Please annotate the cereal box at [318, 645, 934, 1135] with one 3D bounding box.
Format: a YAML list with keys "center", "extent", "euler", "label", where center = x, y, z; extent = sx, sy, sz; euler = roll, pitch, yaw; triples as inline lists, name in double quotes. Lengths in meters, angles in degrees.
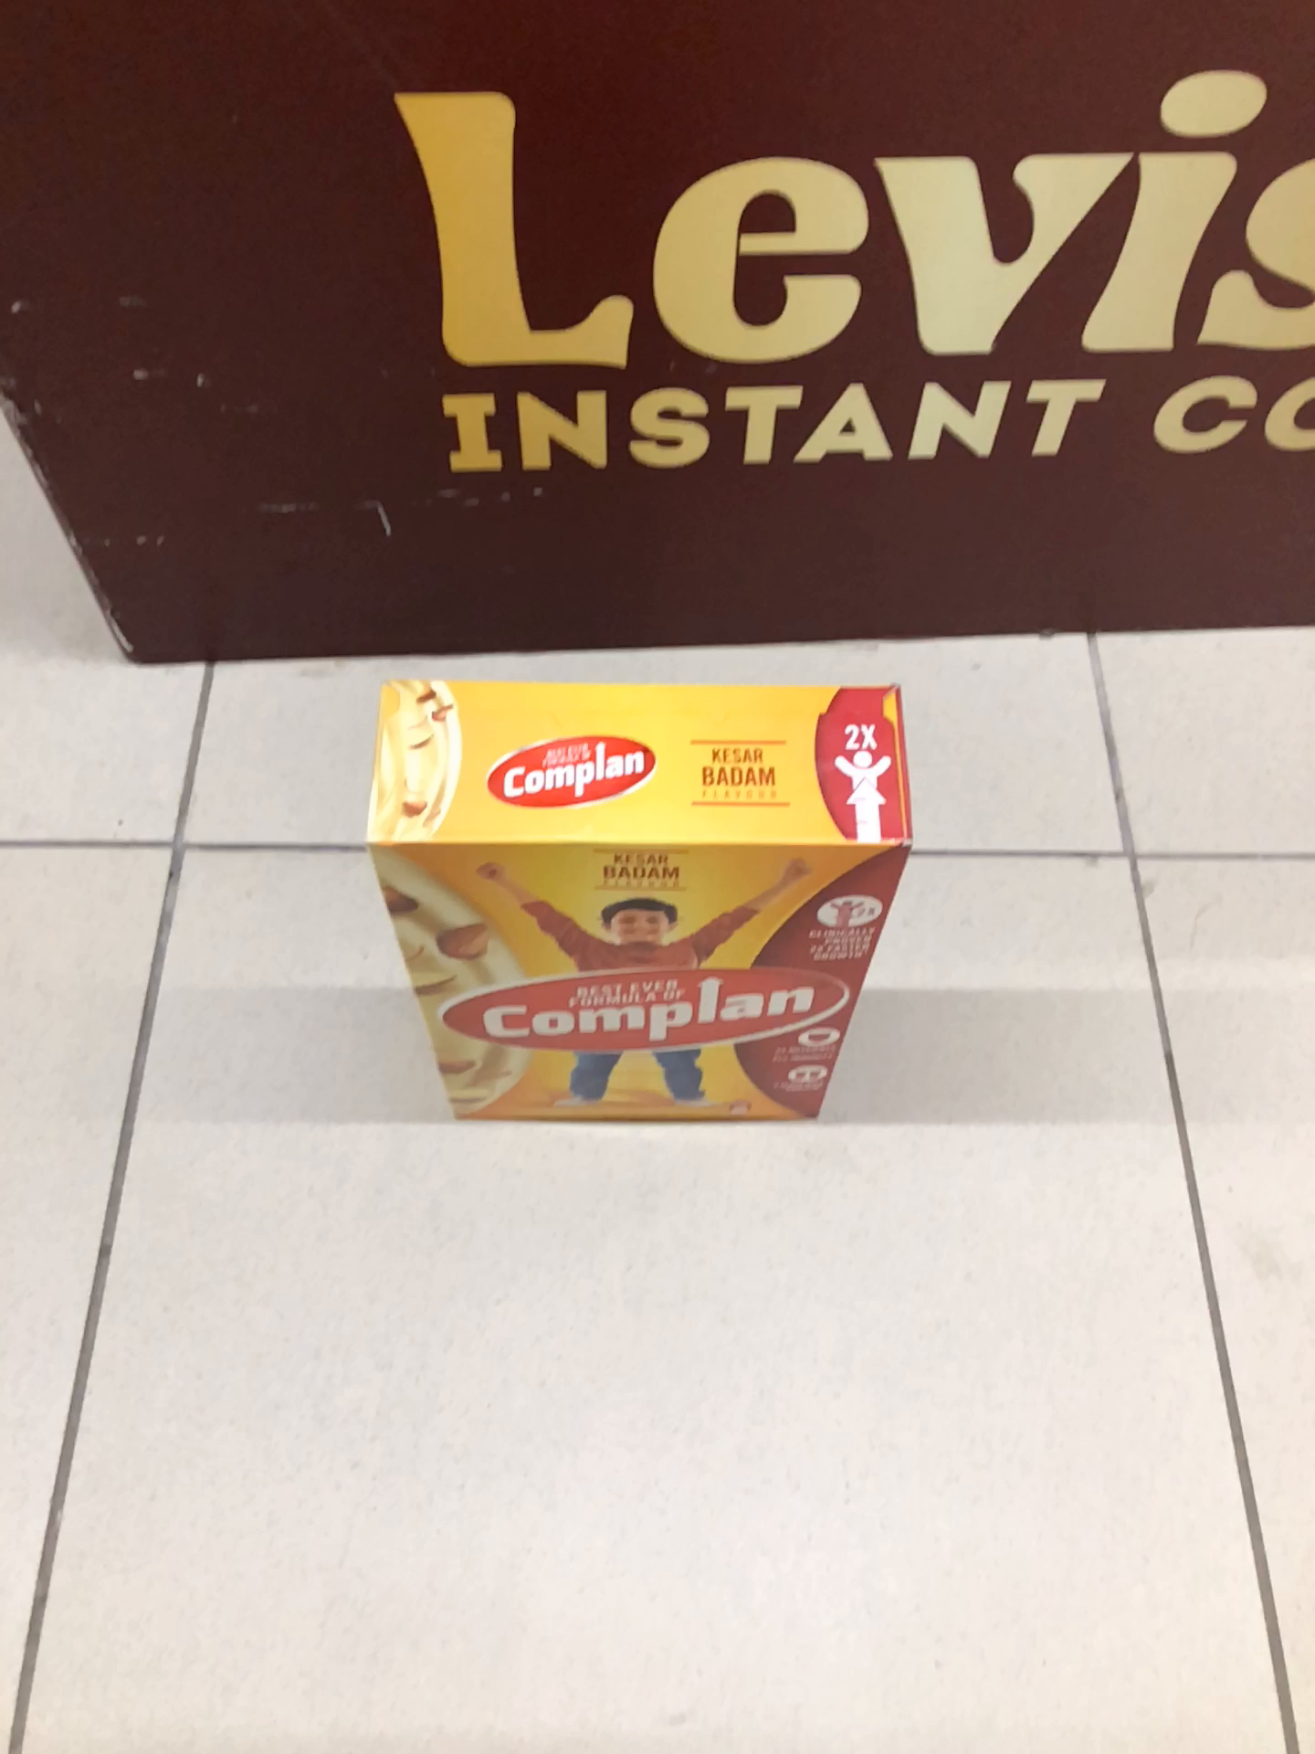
- center: [-0.009, 0.018, 0.465]
  extent: [0.150, 0.219, 0.060]
  euler: [0, 61, -1]
  label: "cereal box"
